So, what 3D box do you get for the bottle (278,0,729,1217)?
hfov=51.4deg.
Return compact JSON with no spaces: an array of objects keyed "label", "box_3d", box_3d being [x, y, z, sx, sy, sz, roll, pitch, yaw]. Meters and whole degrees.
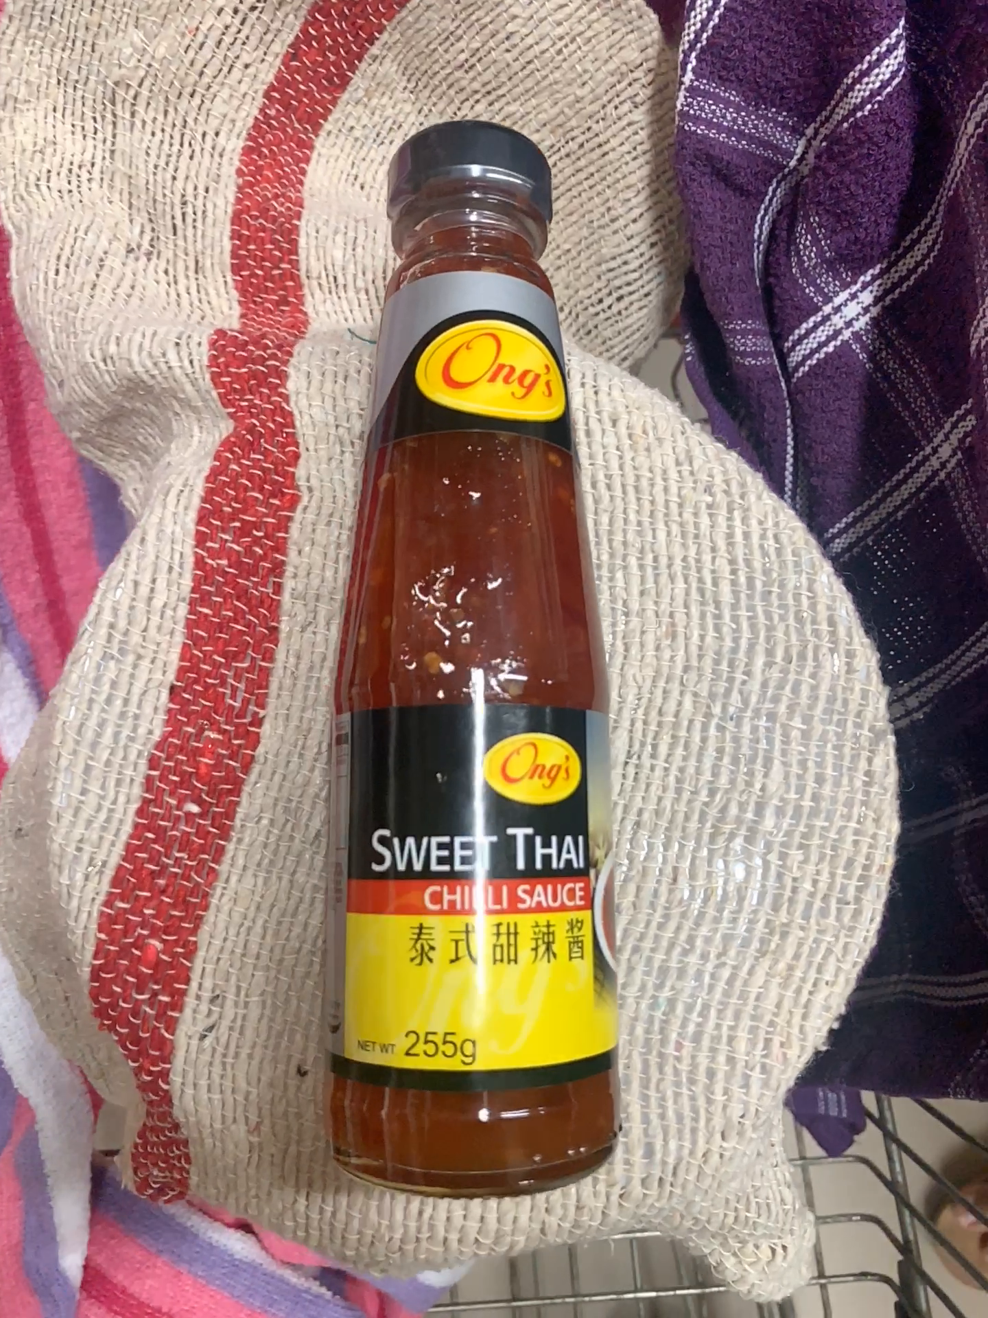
[{"label":"bottle","box_3d":[0.000,-0.015,0.184,0.060,0.050,0.190,4,81,-23]}]
